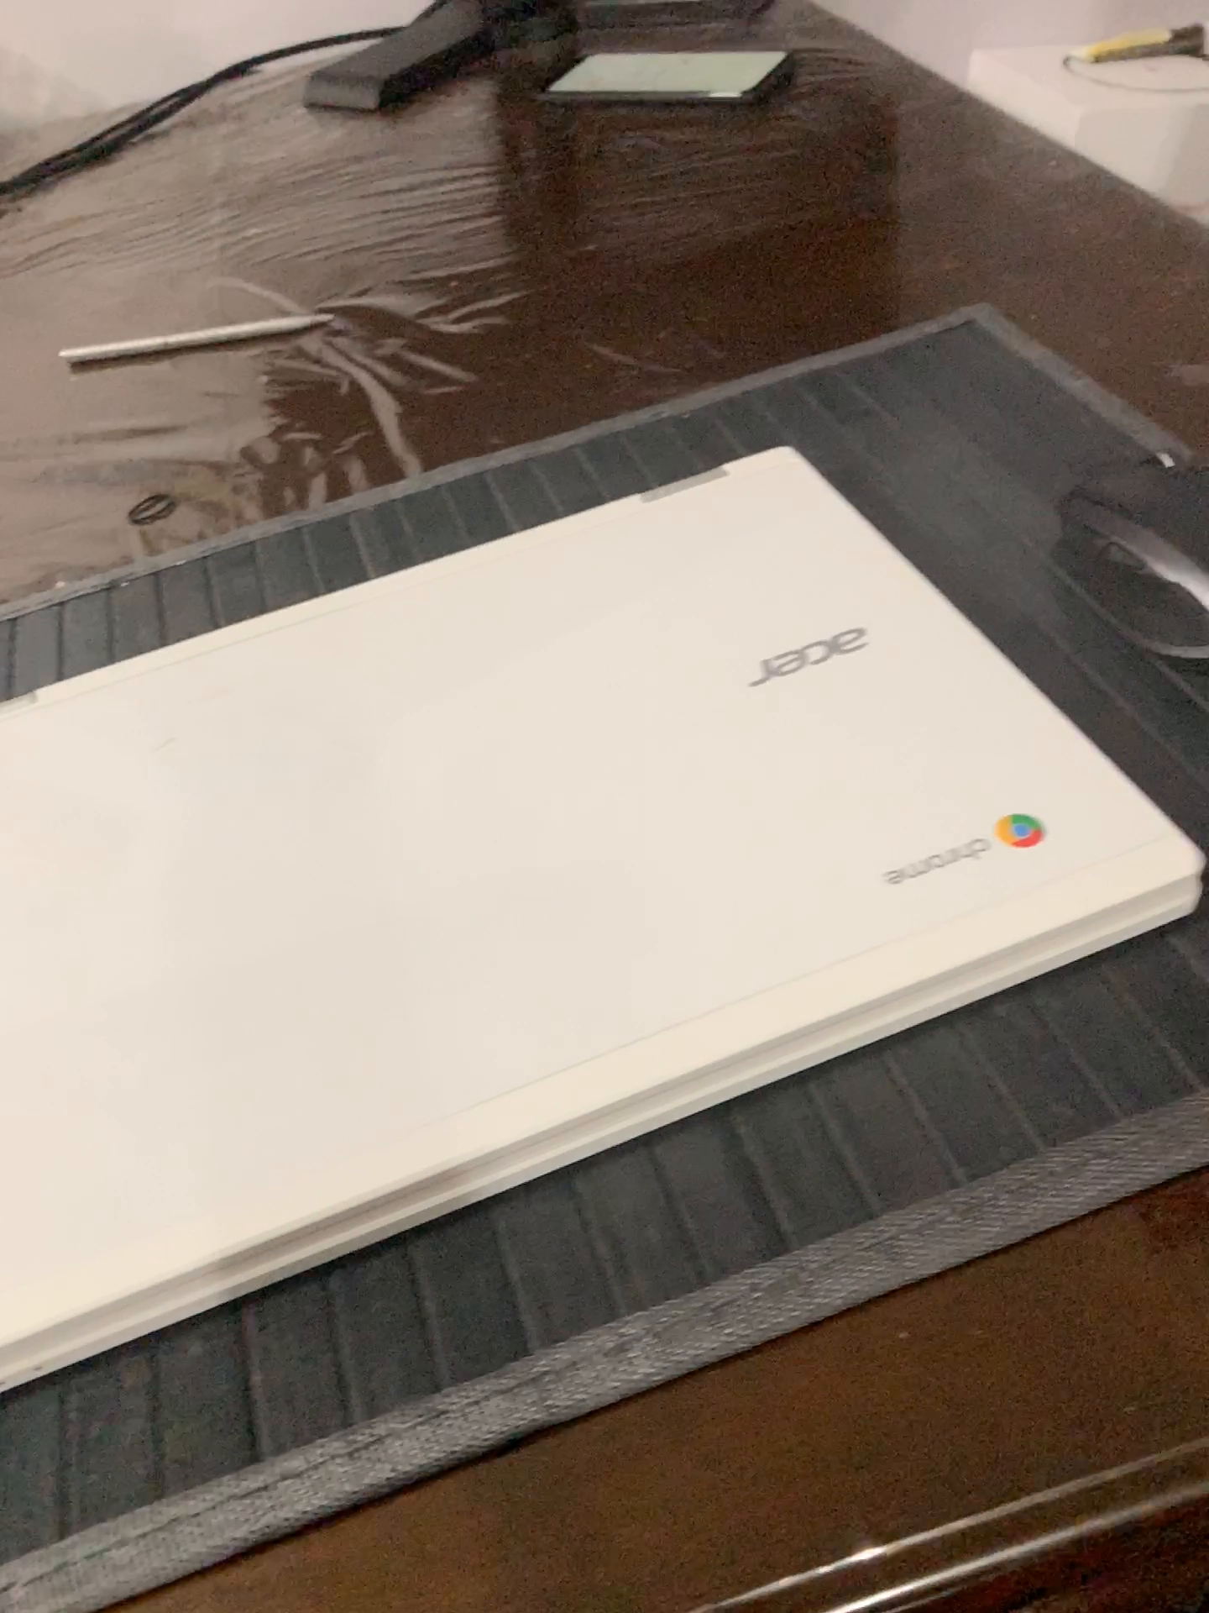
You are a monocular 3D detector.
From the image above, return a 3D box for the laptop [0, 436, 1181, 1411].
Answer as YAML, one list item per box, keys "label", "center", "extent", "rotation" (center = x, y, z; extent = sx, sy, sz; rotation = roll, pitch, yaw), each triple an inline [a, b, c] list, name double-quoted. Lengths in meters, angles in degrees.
- label: "laptop"
  center: [-0.049, -0.004, 0.301]
  extent: [0.278, 0.002, 0.195]
  rotation: [-20, 45, -6]
